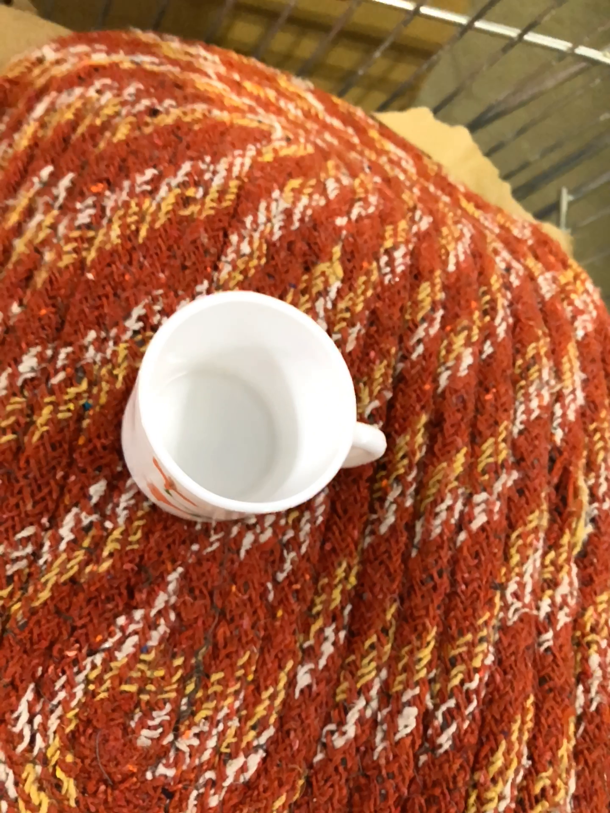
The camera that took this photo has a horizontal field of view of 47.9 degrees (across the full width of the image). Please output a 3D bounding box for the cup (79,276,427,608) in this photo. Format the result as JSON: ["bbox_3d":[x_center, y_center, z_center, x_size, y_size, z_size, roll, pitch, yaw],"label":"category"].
[{"bbox_3d":[-0.016,0.017,0.204,0.080,0.060,0.070,14,67,-17],"label":"cup"}]
